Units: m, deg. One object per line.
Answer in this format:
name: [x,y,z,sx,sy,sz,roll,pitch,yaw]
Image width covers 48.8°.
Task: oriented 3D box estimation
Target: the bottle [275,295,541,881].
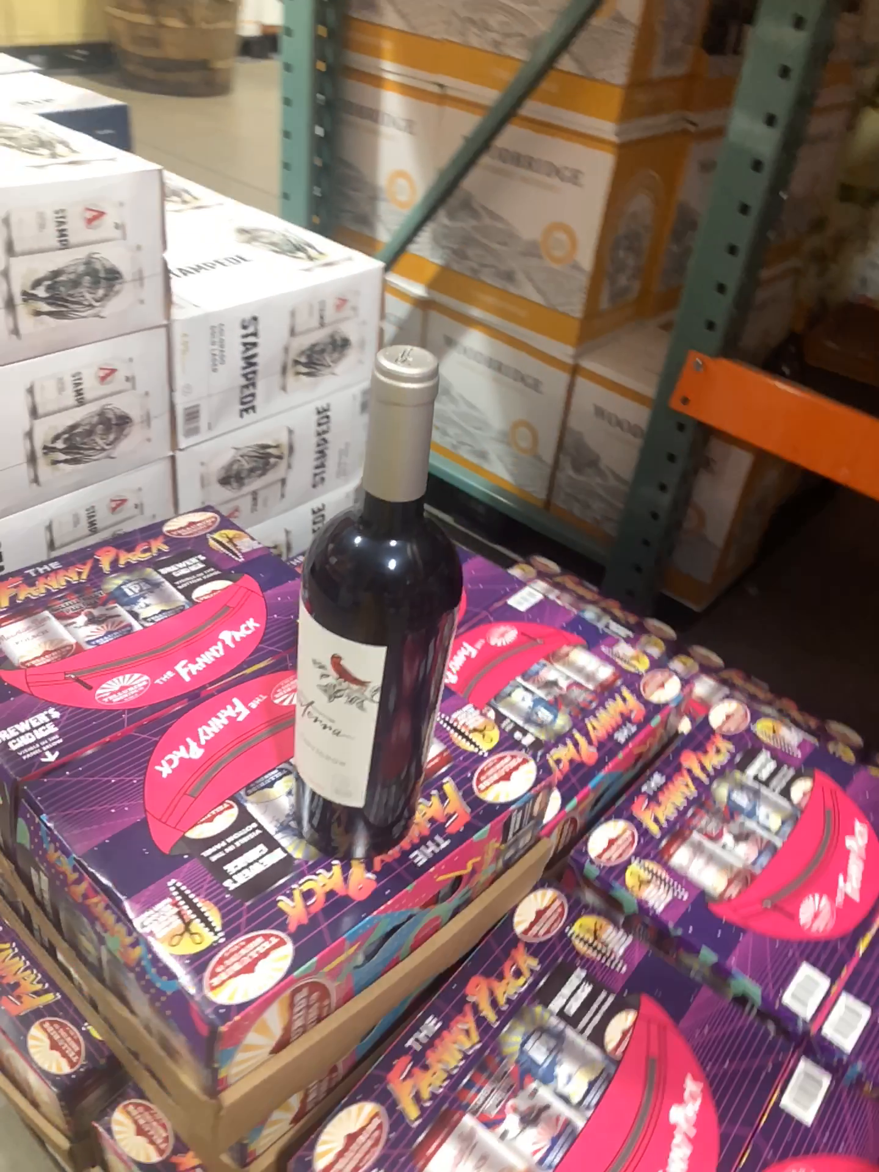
bottle: [-0.029,0.014,0.498,0.080,0.298,0.080,5,36,-4]
